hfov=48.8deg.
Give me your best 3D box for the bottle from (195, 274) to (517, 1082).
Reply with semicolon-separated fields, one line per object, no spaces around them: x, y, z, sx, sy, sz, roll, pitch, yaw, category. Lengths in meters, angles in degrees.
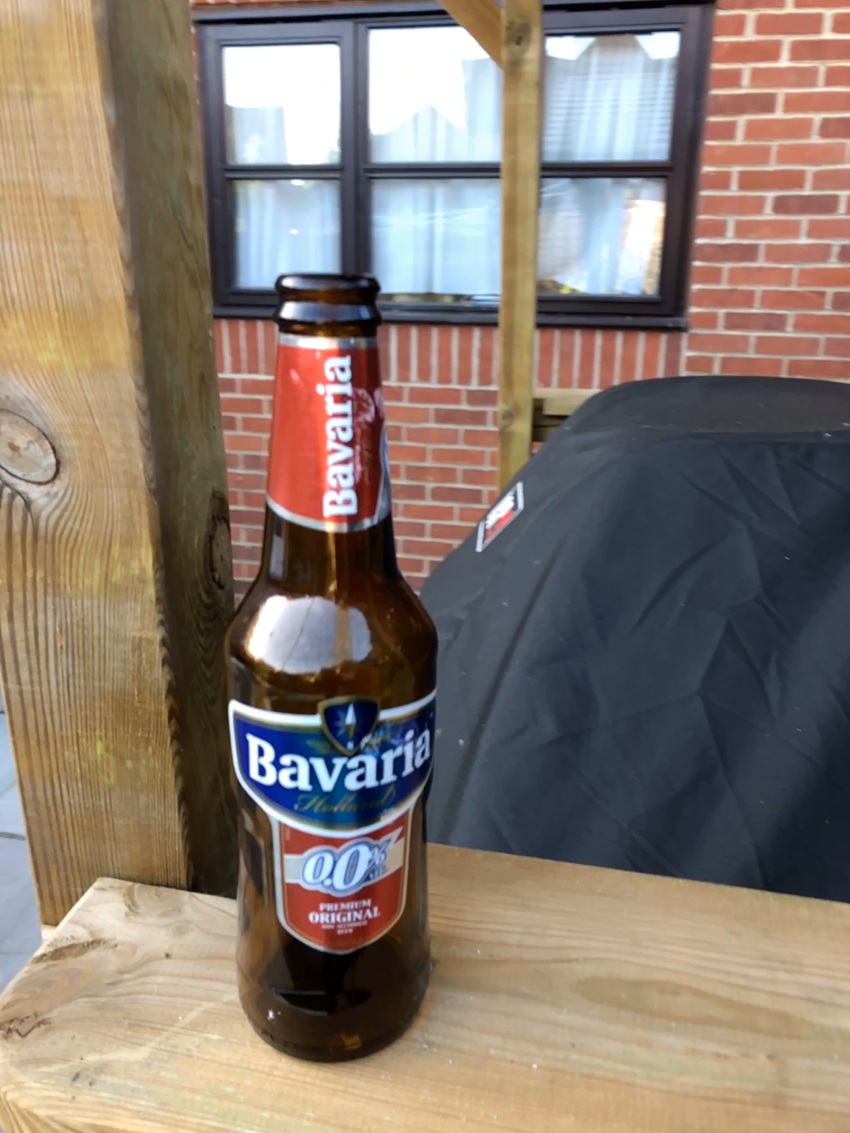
-0.021;0.029;0.259;0.070;0.209;0.060;-2;16;-10;bottle
